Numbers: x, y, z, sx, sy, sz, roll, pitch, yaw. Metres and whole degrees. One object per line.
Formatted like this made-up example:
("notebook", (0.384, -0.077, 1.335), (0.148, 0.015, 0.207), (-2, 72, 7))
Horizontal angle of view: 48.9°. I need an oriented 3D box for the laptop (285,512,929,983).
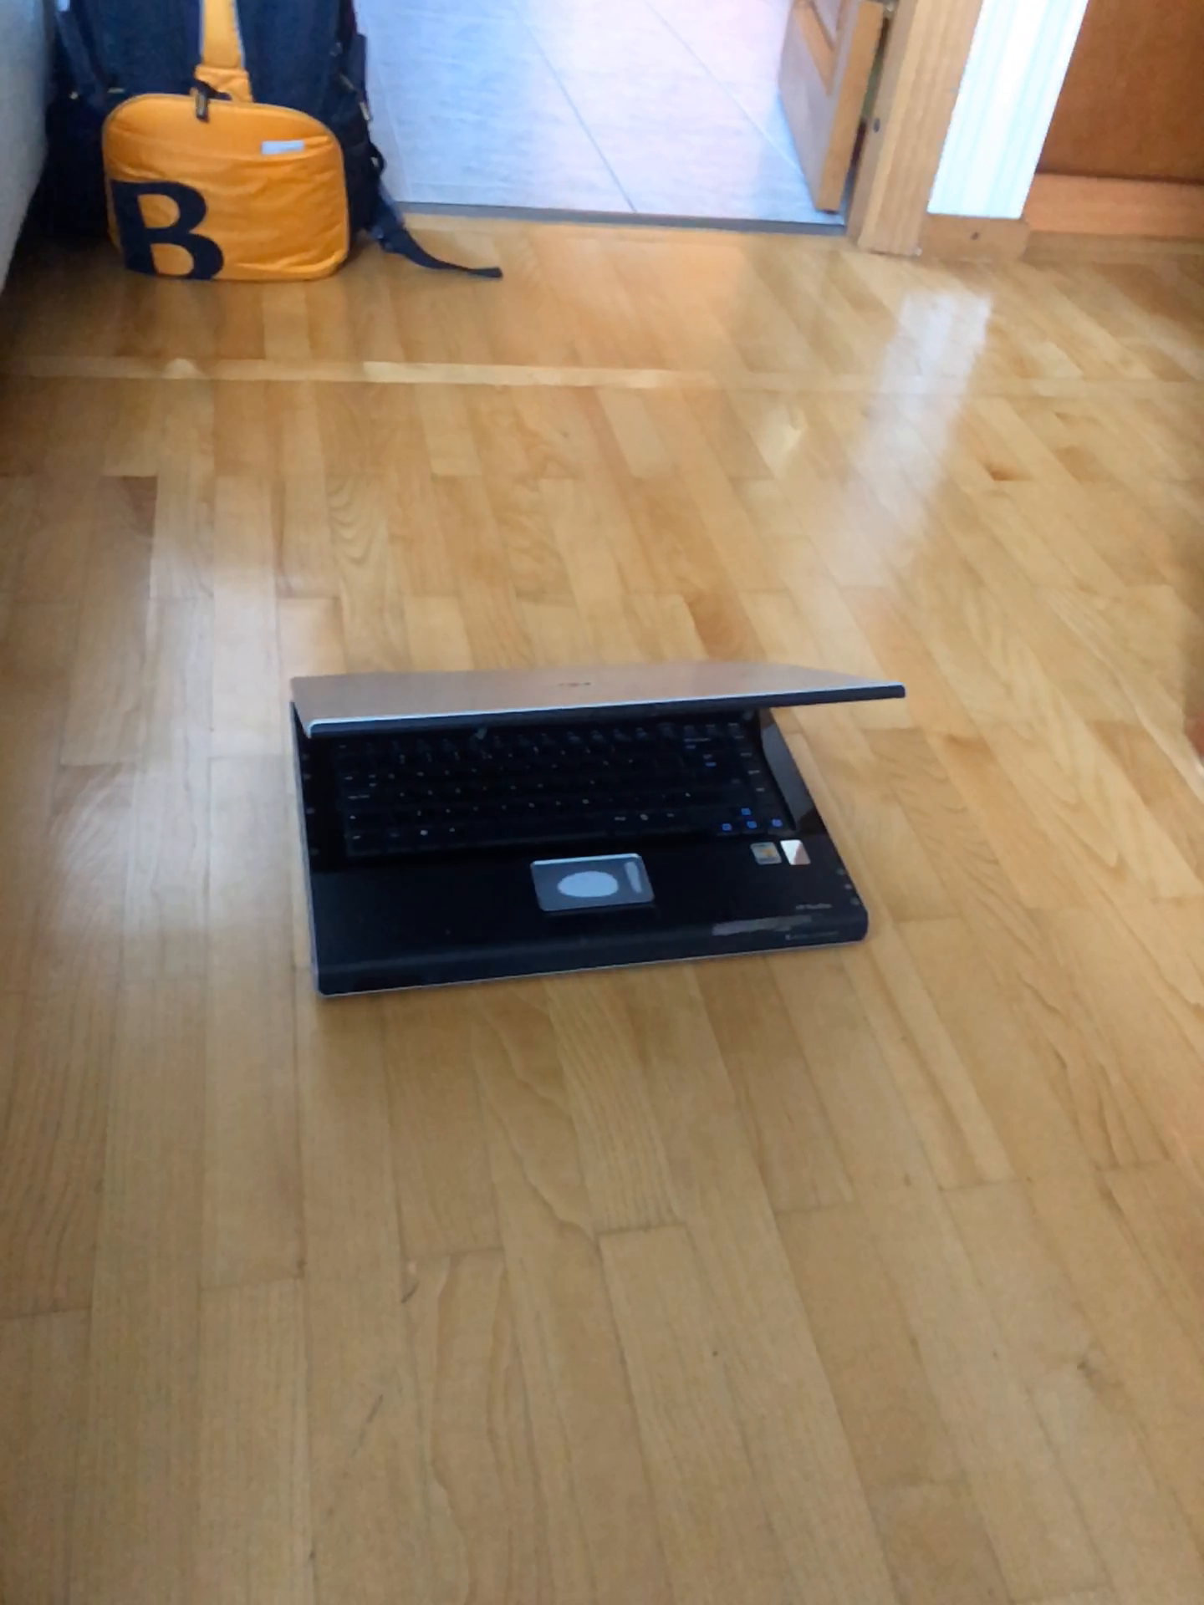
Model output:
("laptop", (-0.016, -0.052, 0.888), (0.362, 0.147, 0.269), (-4, 45, -15))
